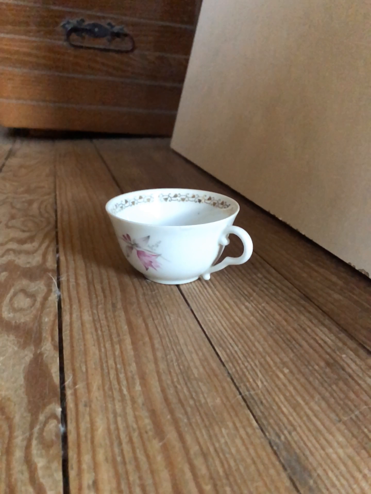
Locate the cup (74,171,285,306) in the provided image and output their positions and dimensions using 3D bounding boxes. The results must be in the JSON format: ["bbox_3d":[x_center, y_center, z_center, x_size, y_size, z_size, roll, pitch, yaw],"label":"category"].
[{"bbox_3d":[-0.004,-0.013,0.258,0.100,0.040,0.080,18,29,35],"label":"cup"}]
